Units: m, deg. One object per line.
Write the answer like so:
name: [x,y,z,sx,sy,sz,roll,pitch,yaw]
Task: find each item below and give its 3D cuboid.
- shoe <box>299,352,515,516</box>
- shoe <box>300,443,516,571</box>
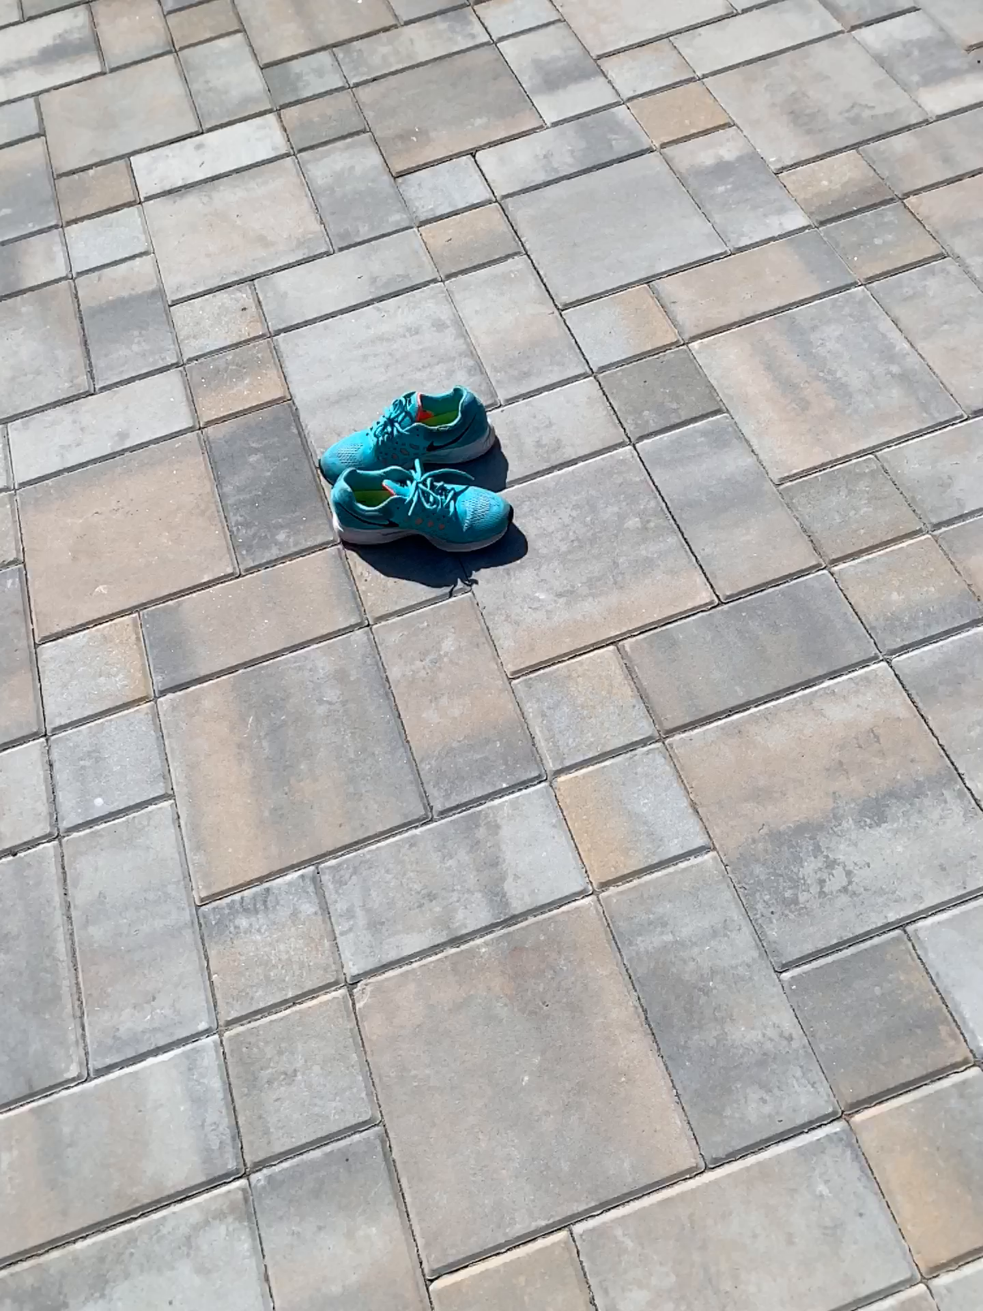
shoe: [-0.117,-0.312,1.417,0.270,0.100,0.130,-16,60,-2]
shoe: [-0.112,-0.205,1.403,0.270,0.100,0.130,-1,61,12]
